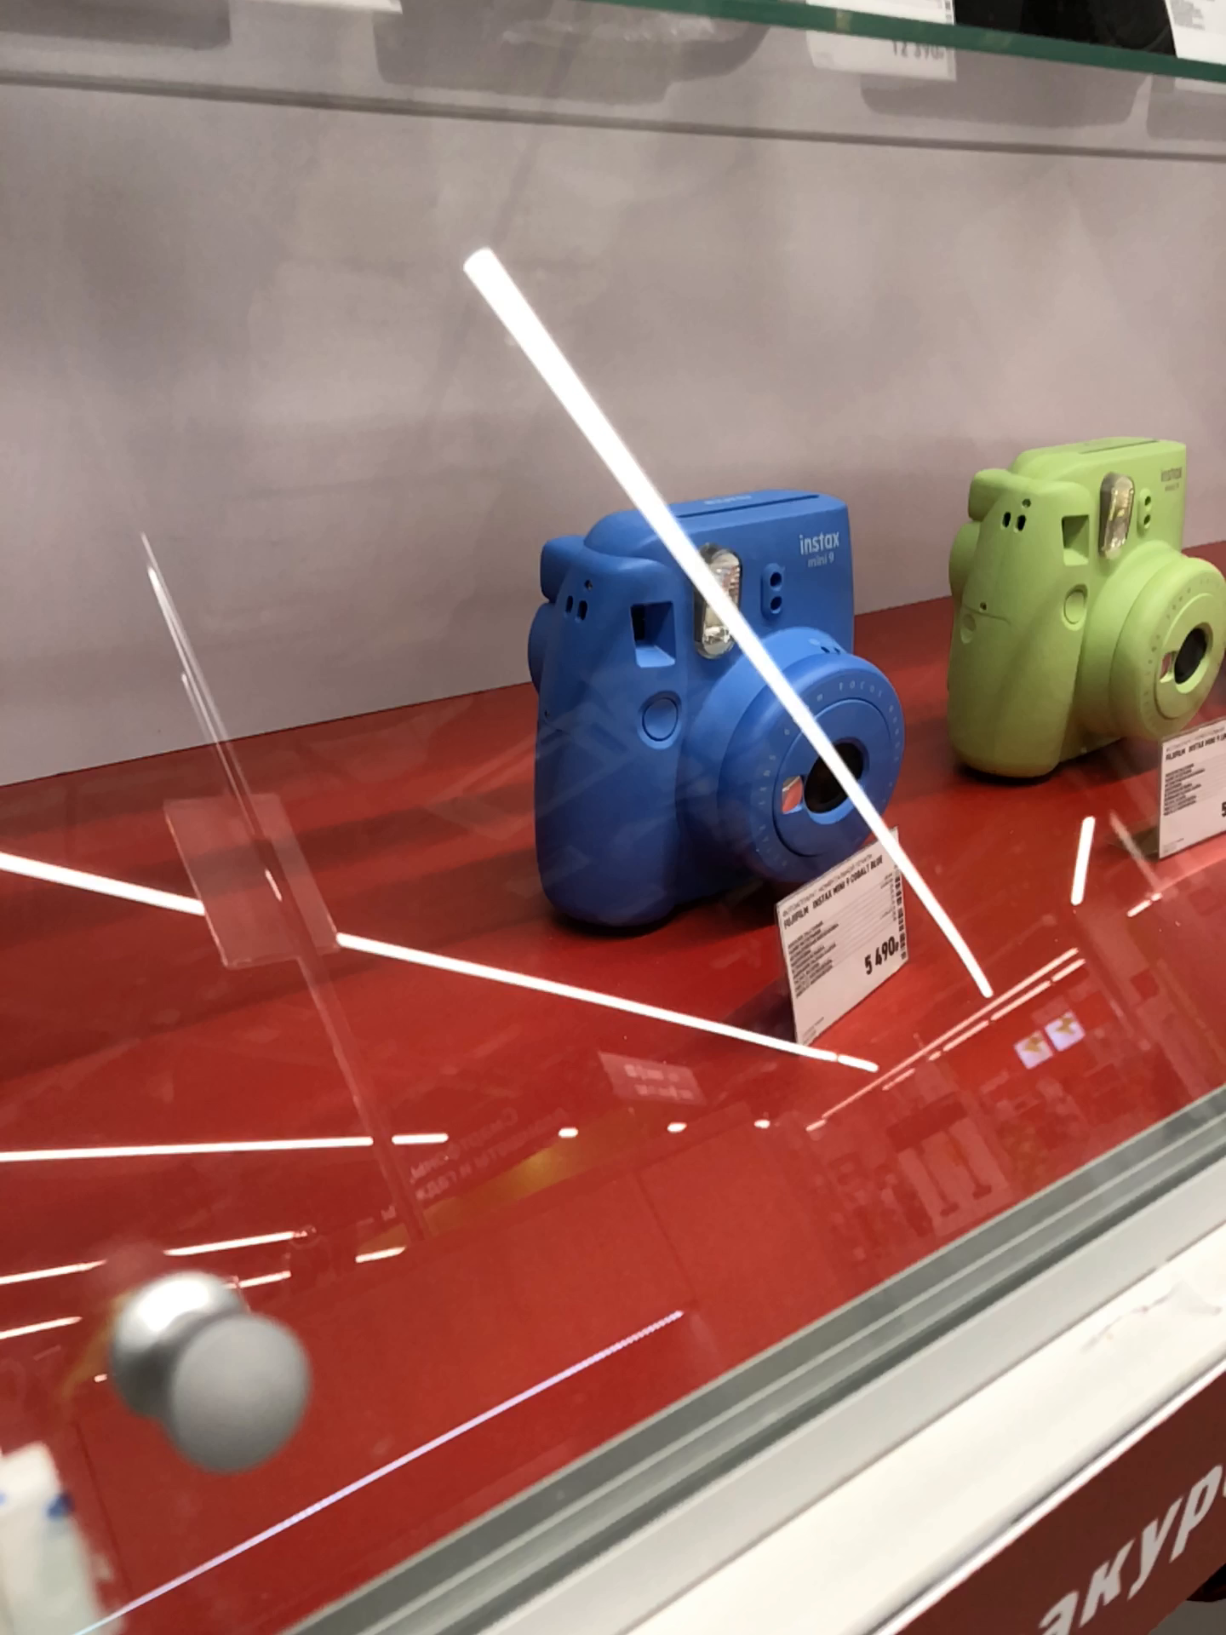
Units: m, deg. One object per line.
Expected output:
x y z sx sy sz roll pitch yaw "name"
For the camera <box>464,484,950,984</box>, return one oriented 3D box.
0.027 -0.032 0.400 0.123 0.109 0.070 -18 30 -38 "camera"
